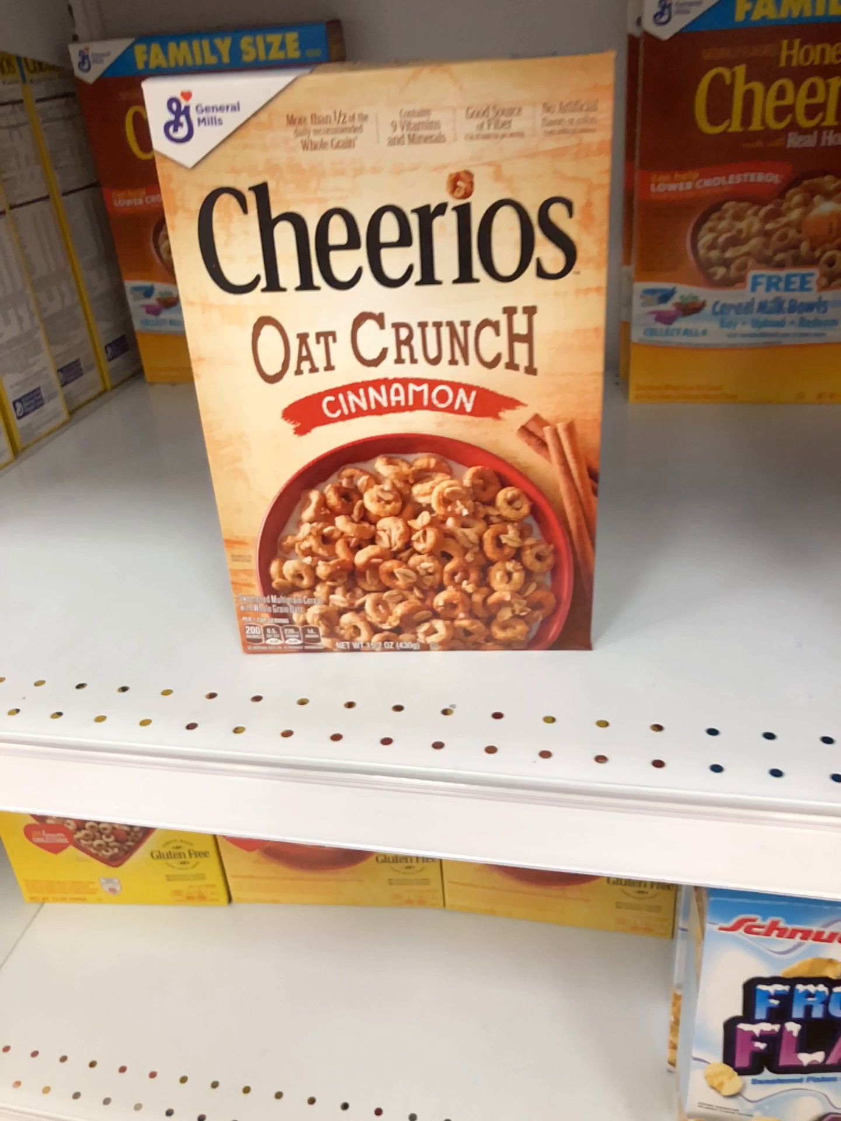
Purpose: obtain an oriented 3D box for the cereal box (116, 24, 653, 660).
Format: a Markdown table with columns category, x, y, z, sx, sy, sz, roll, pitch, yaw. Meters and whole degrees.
| category | x | y | z | sx | sy | sz | roll | pitch | yaw |
| --- | --- | --- | --- | --- | --- | --- | --- | --- | --- |
| cereal box | -0.004 | -0.081 | 0.437 | 0.200 | 0.279 | 0.050 | -1 | 31 | 7 |
